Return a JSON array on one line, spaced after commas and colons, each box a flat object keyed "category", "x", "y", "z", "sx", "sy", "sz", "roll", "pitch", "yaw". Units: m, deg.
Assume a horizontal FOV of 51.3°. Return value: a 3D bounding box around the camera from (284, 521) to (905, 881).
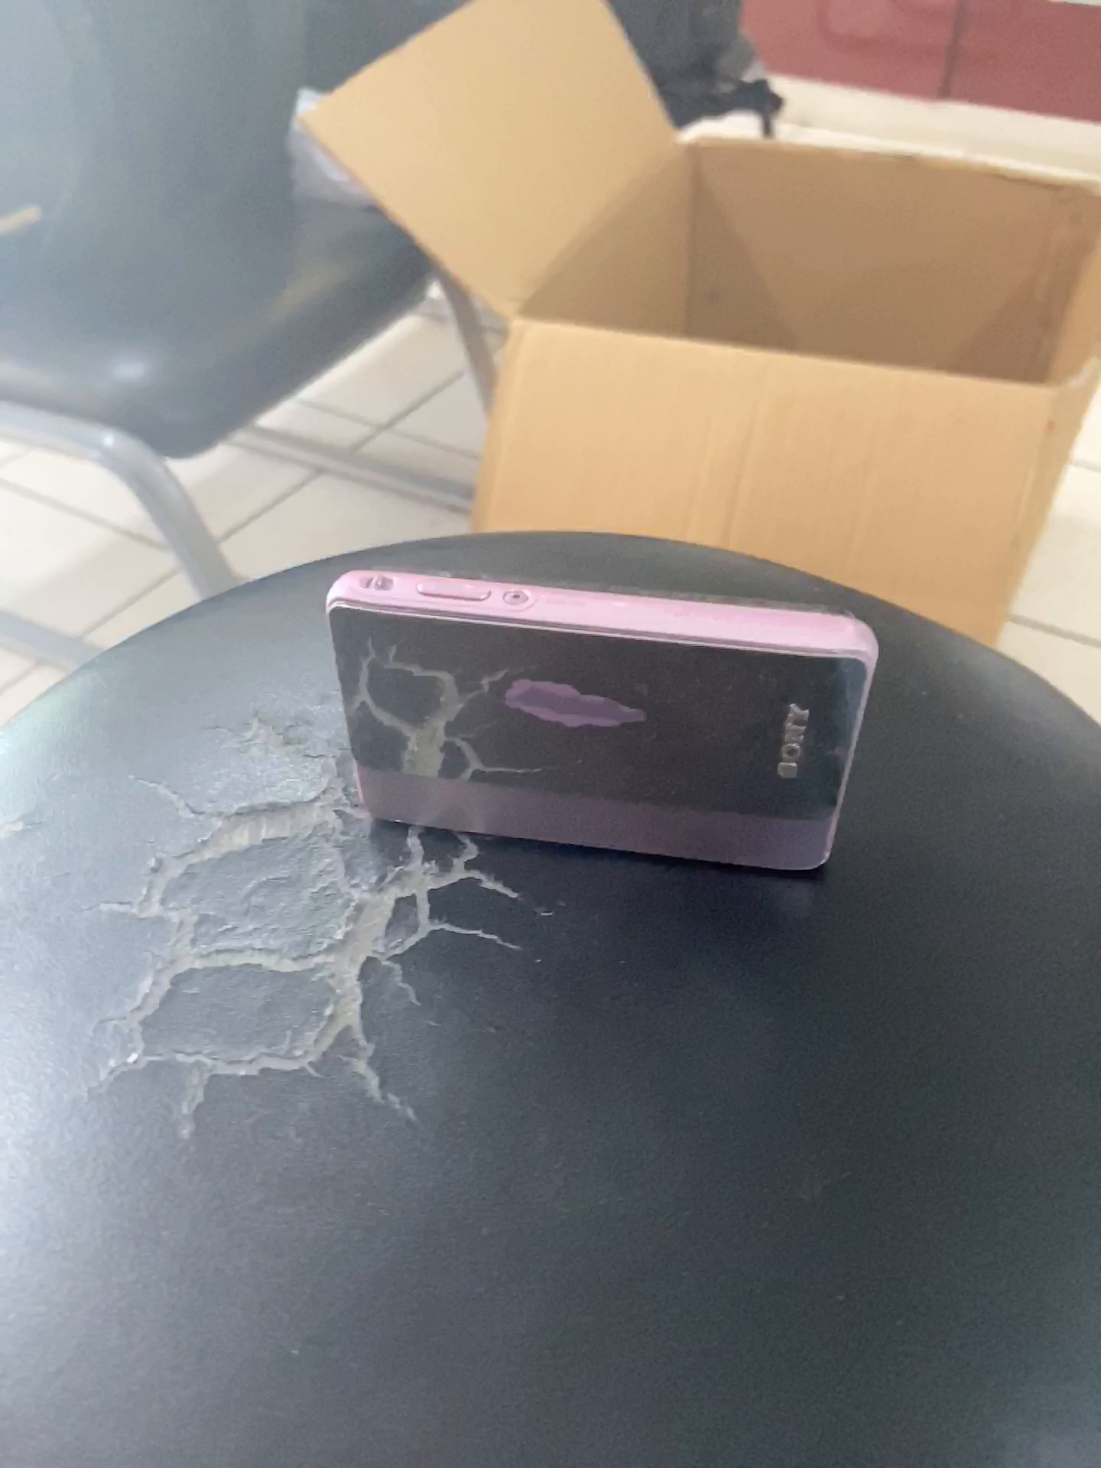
[{"category": "camera", "x": 0.008, "y": -0.006, "z": 0.211, "sx": 0.100, "sy": 0.050, "sz": 0.030, "roll": 5, "pitch": 43, "yaw": 7}]
